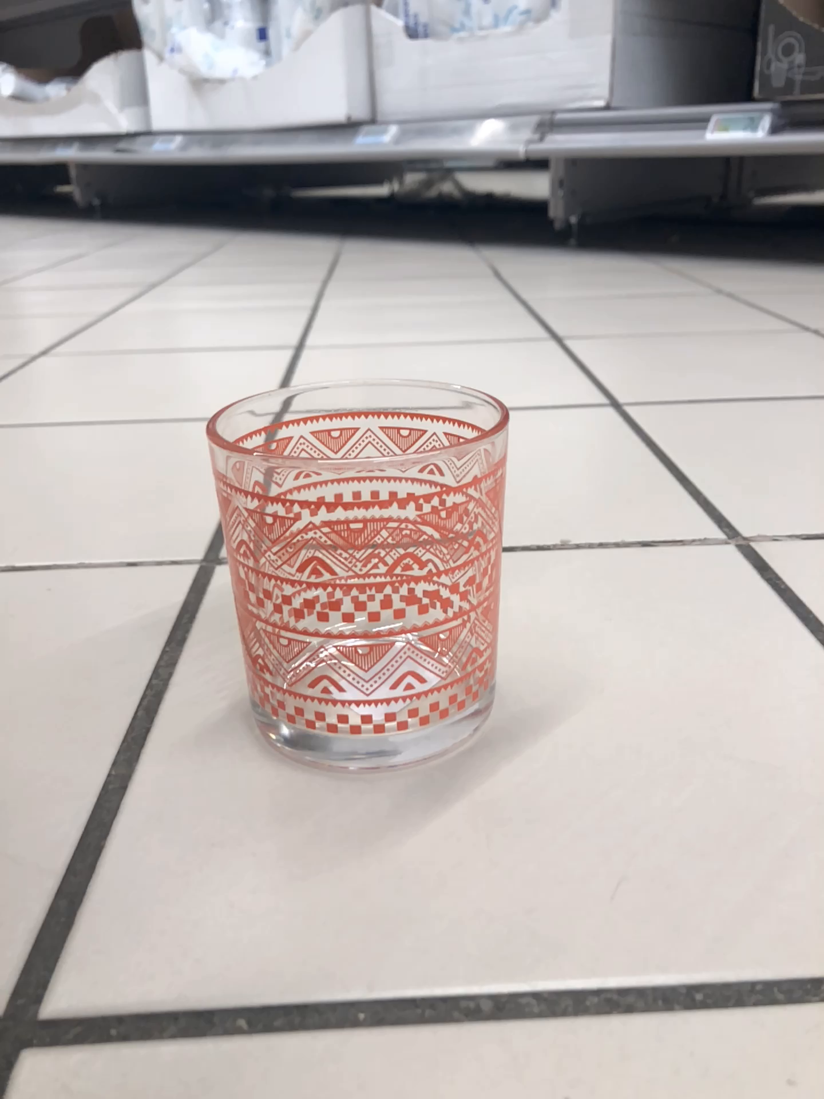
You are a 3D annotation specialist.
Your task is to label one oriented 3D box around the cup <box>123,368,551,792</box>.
[{"bbox_3d":[-0.013,0.003,0.229,0.083,0.078,0.079,-1,23,1],"label":"cup"}]
